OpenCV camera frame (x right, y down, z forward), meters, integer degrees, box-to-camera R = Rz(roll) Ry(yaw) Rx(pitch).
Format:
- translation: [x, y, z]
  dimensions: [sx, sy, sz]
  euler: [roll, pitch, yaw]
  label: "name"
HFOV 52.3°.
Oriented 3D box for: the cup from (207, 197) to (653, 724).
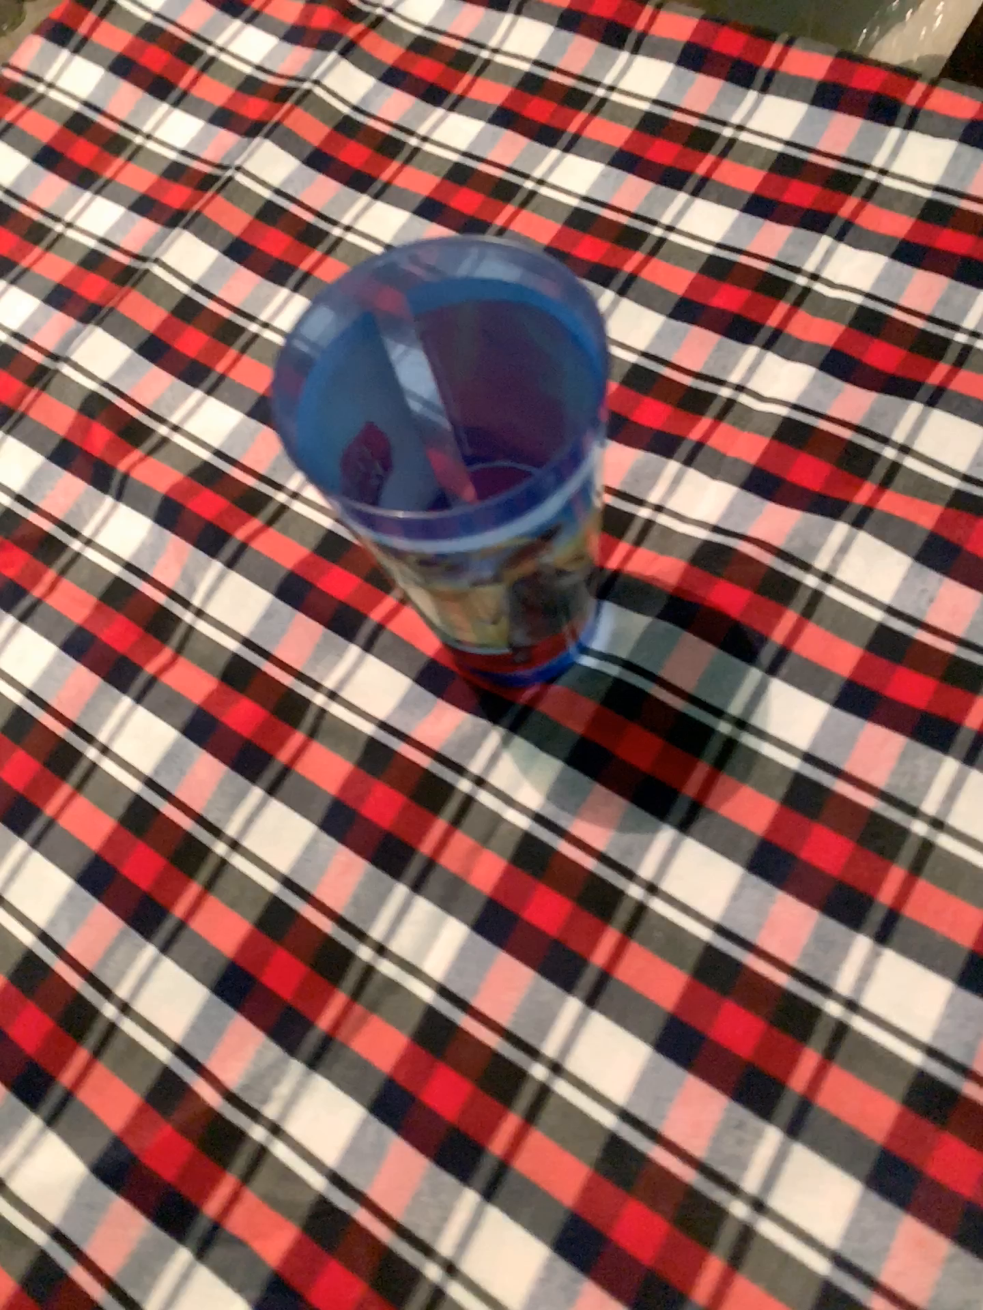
- translation: [-0.005, -0.053, 0.313]
  dimensions: [0.090, 0.130, 0.090]
  euler: [-4, 66, 8]
  label: "cup"
